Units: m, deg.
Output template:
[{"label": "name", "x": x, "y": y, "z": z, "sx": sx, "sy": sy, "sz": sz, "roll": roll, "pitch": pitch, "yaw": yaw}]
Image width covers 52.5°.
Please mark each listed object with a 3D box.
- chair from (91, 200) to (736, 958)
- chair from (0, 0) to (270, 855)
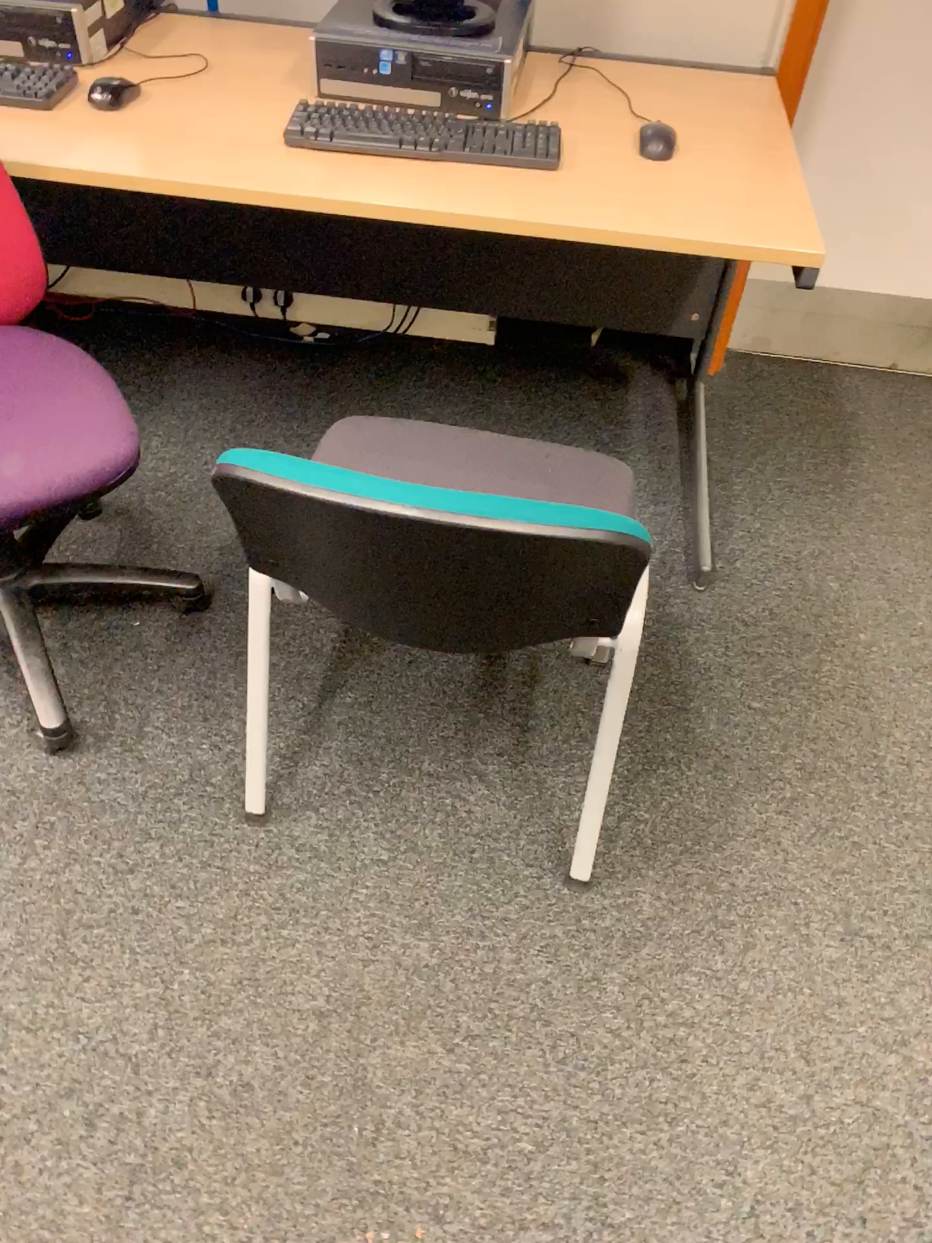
[{"label": "chair", "x": -0.028, "y": -0.044, "z": 1.264, "sx": 0.552, "sy": 0.721, "sz": 0.603, "roll": 9, "pitch": 46, "yaw": 3}, {"label": "chair", "x": -0.766, "y": -0.303, "z": 1.343, "sx": 0.654, "sy": 0.860, "sz": 0.672, "roll": -26, "pitch": 54, "yaw": -27}]
